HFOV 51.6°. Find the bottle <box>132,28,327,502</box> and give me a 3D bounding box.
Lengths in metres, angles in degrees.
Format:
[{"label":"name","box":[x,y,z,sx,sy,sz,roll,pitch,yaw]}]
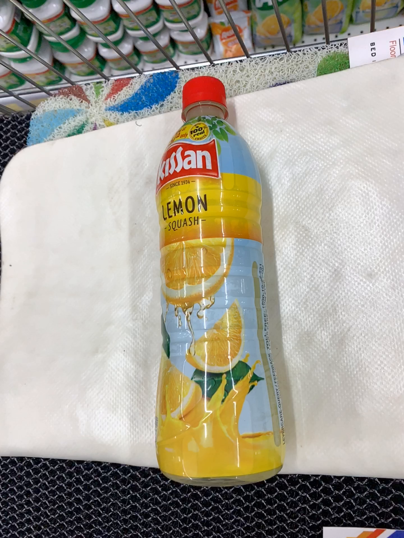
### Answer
[{"label":"bottle","box":[0.015,-0.003,0.242,0.080,0.070,0.230,-5,82,11]}]
